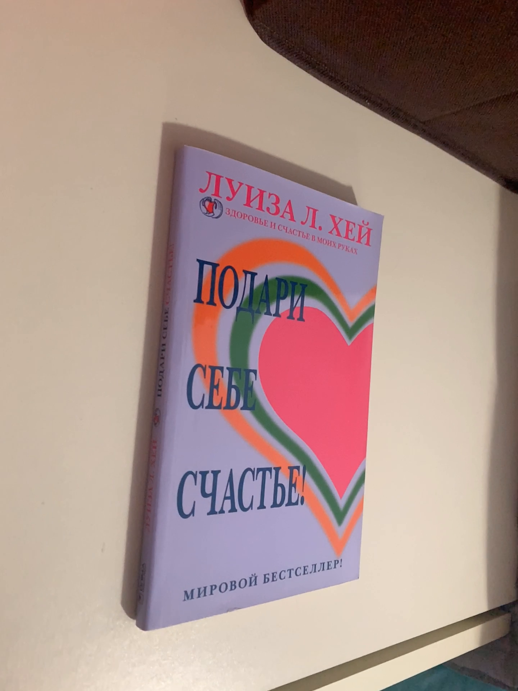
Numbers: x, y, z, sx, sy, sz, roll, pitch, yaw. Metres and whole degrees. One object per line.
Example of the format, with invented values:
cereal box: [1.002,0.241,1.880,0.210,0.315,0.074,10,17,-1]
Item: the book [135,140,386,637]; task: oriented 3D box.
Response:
book: [0.010,0.020,0.253,0.124,0.016,0.194,7,85,-38]
